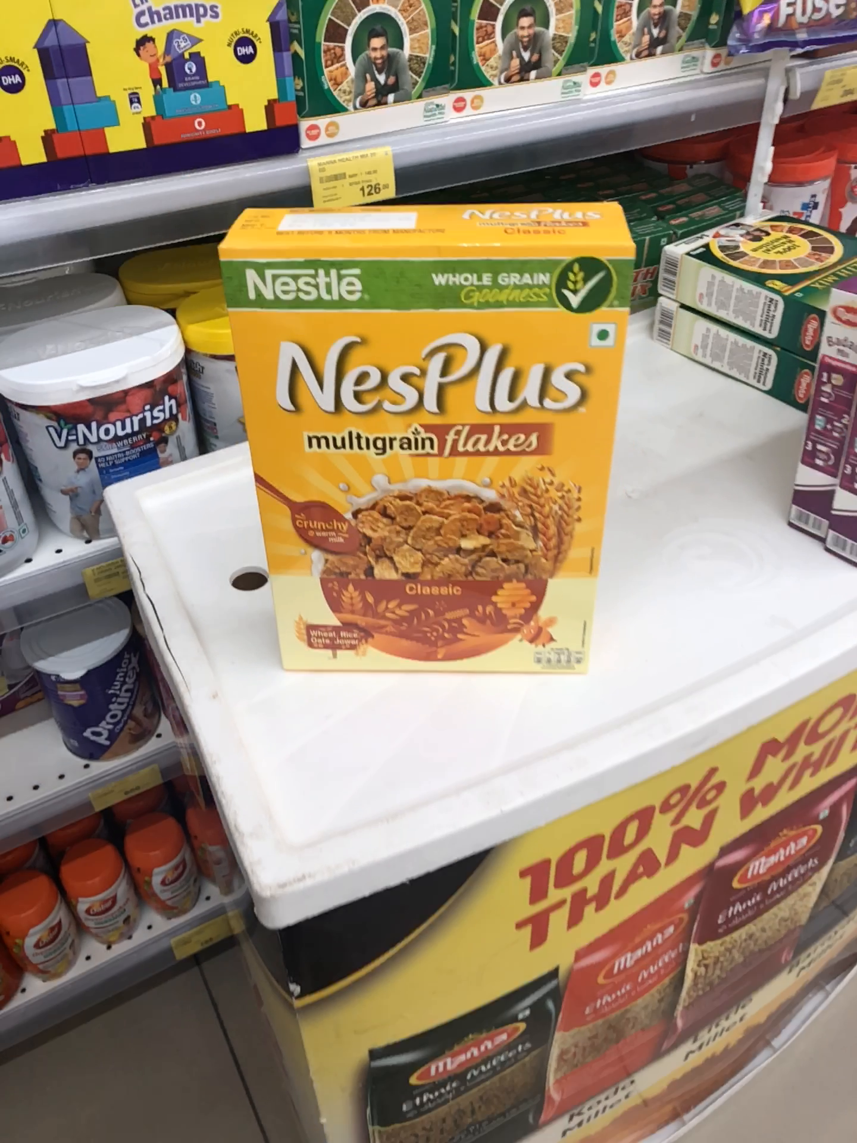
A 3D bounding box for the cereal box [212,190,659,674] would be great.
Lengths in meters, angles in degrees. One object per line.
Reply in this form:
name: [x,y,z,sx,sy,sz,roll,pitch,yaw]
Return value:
cereal box: [0.006,-0.064,0.535,0.200,0.269,0.070,0,38,2]
